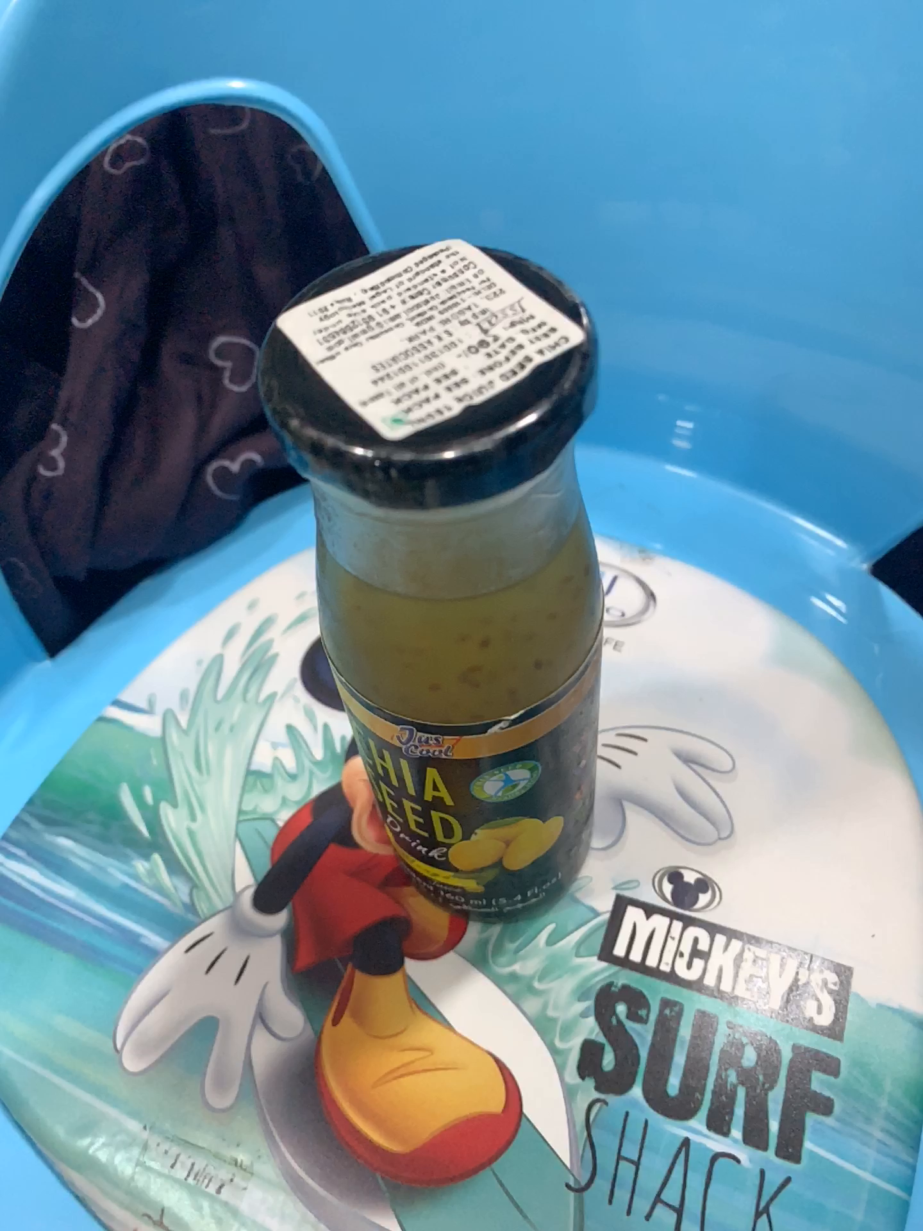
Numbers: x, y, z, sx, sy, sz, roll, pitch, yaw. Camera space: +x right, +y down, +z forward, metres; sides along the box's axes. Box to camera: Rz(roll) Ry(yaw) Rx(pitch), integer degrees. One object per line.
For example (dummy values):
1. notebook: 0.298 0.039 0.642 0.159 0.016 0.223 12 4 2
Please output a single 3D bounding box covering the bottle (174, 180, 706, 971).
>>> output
1. bottle: 0.003 0.005 0.176 0.050 0.140 0.050 -2 49 3
